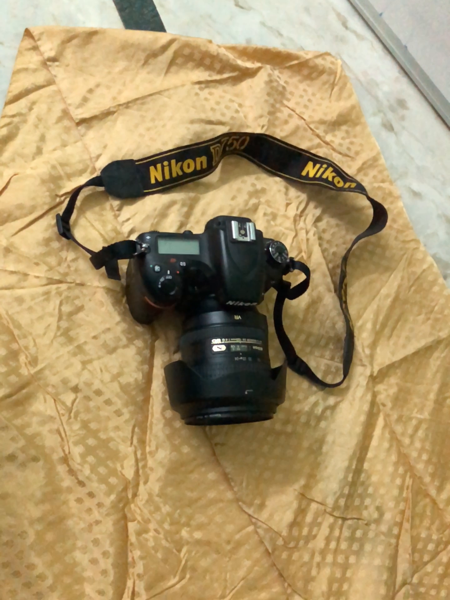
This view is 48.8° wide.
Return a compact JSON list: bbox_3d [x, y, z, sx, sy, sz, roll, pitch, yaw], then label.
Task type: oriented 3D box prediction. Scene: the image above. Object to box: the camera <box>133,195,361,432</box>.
[{"bbox_3d":[0.009,0.017,0.422,0.149,0.110,0.170,-1,76,-19],"label":"camera"}]
